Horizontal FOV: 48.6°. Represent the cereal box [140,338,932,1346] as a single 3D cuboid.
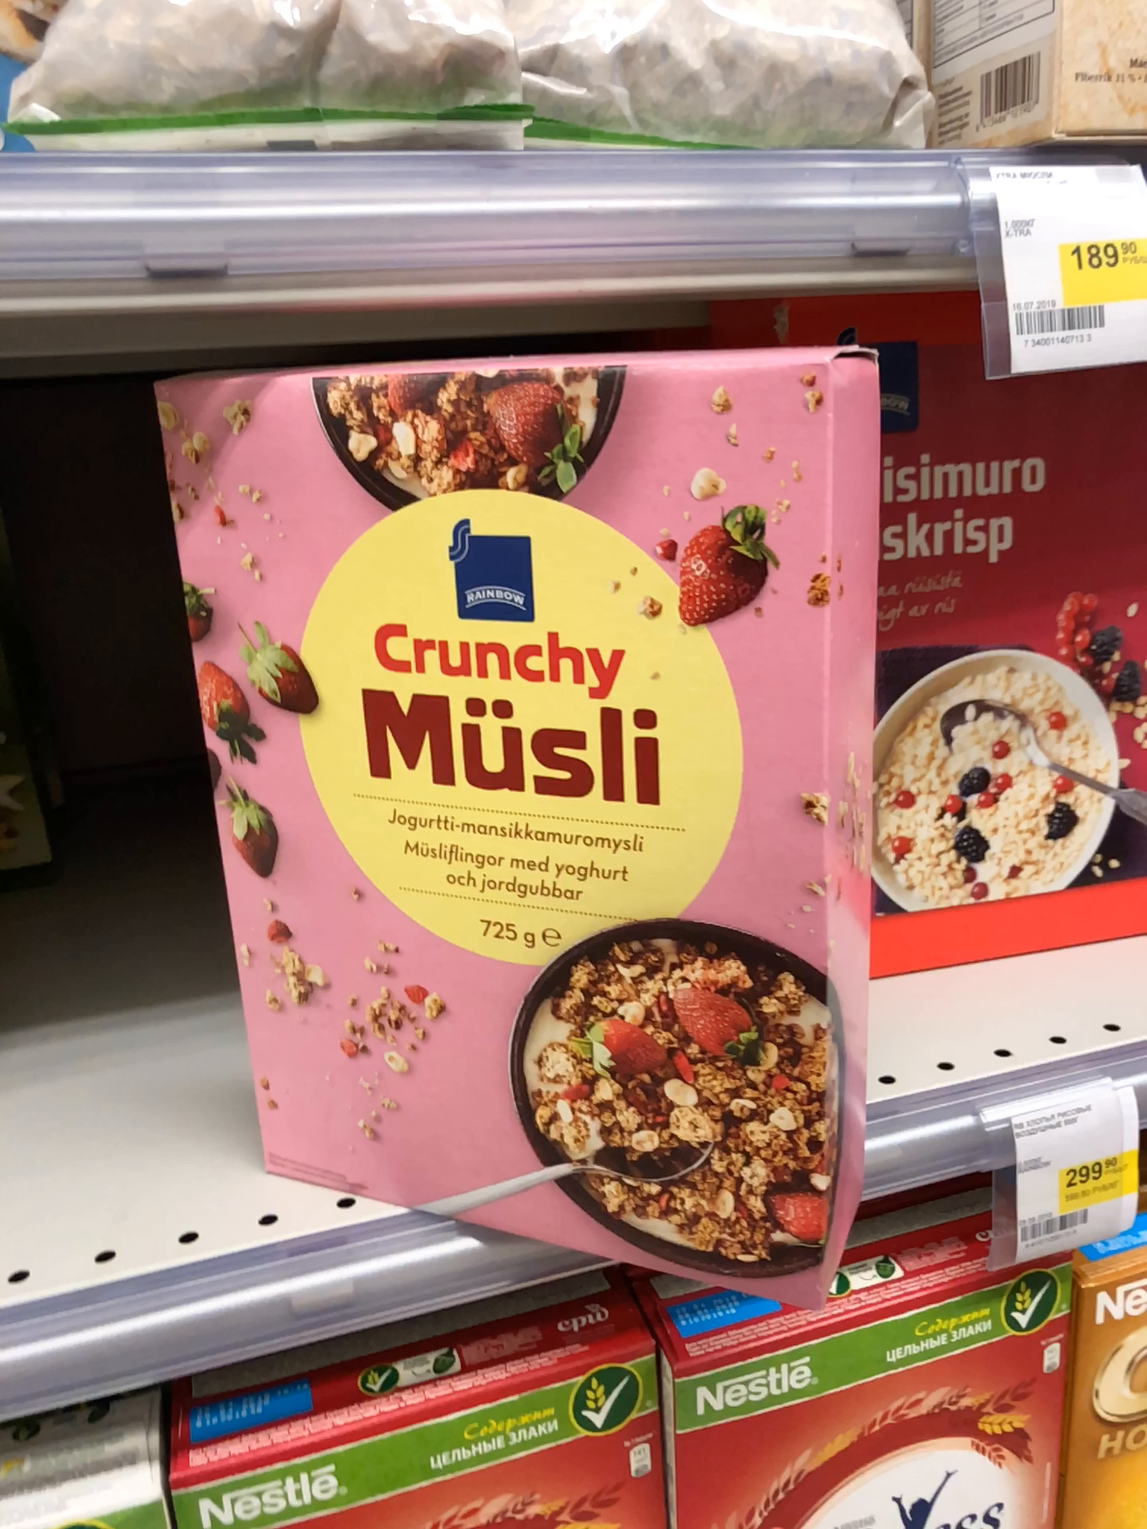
[{"bbox_3d":[-0.008,0.017,0.371,0.200,0.259,0.060,5,19,23],"label":"cereal box"}]
